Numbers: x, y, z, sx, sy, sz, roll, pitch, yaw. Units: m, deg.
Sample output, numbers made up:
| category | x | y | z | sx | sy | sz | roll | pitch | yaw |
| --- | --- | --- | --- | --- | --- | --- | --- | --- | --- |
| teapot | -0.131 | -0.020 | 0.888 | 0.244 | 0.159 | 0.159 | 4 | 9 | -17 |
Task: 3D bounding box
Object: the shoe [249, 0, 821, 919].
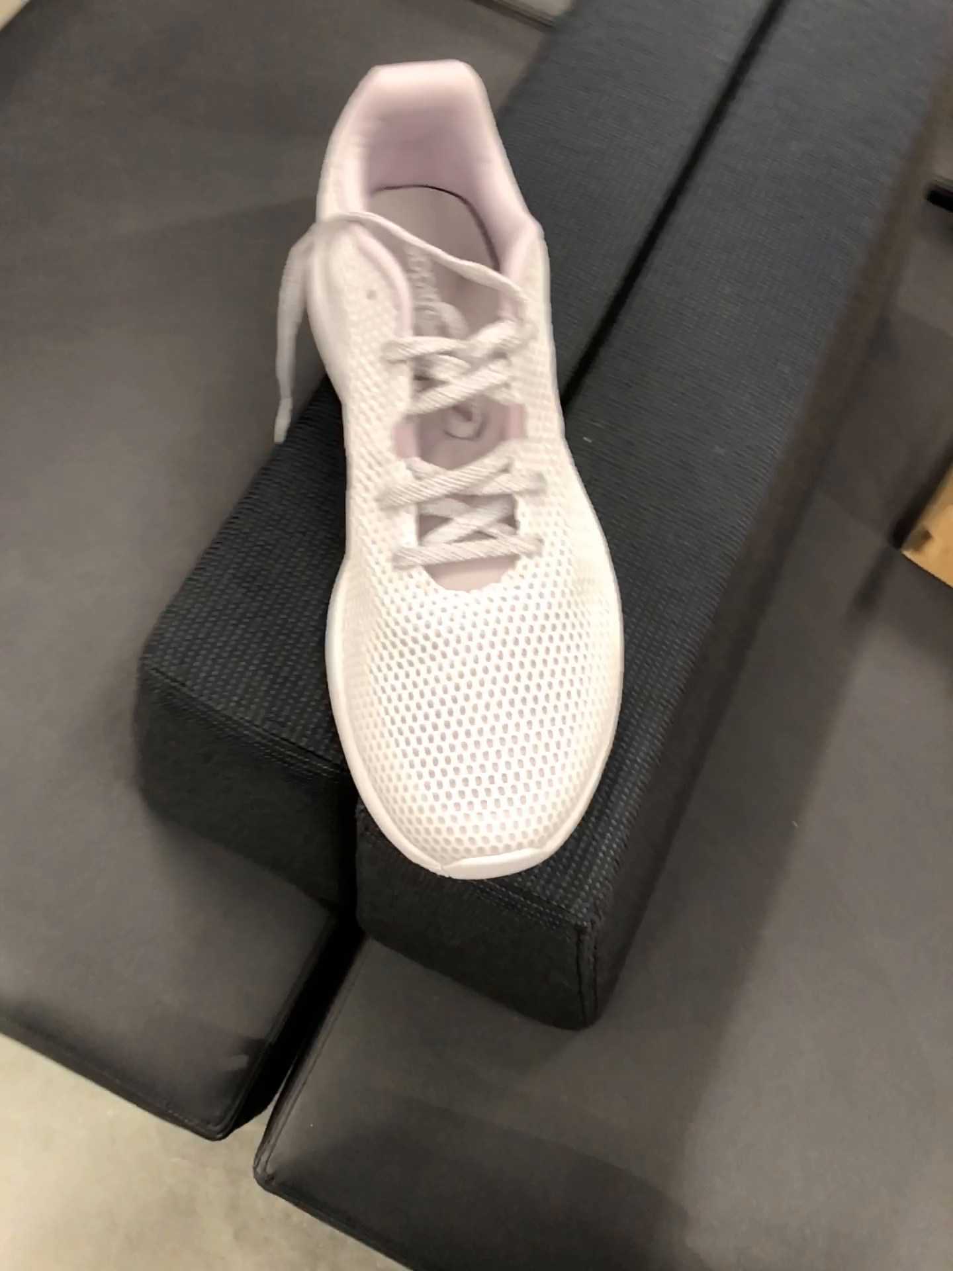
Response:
| category | x | y | z | sx | sy | sz | roll | pitch | yaw |
| --- | --- | --- | --- | --- | --- | --- | --- | --- | --- |
| shoe | -0.001 | -0.060 | 0.374 | 0.120 | 0.140 | 0.280 | -7 | 69 | -9 |
